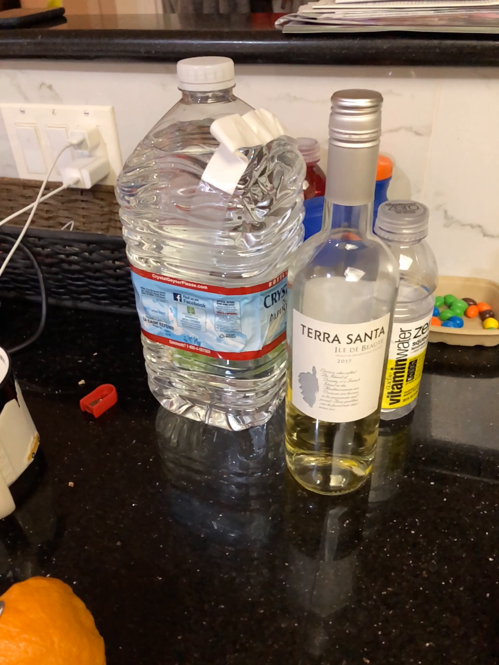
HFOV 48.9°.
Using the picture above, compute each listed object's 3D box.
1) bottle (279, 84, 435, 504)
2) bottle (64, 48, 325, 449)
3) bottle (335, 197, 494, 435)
[{"bbox_3d":[0.063,-0.010,0.360,0.070,0.268,0.070,-1,34,1],"label":"bottle"},{"bbox_3d":[-0.027,-0.068,0.453,0.130,0.278,0.141,-1,34,1],"label":"bottle"},{"bbox_3d":[0.123,-0.012,0.433,0.070,0.159,0.070,-1,34,1],"label":"bottle"}]
